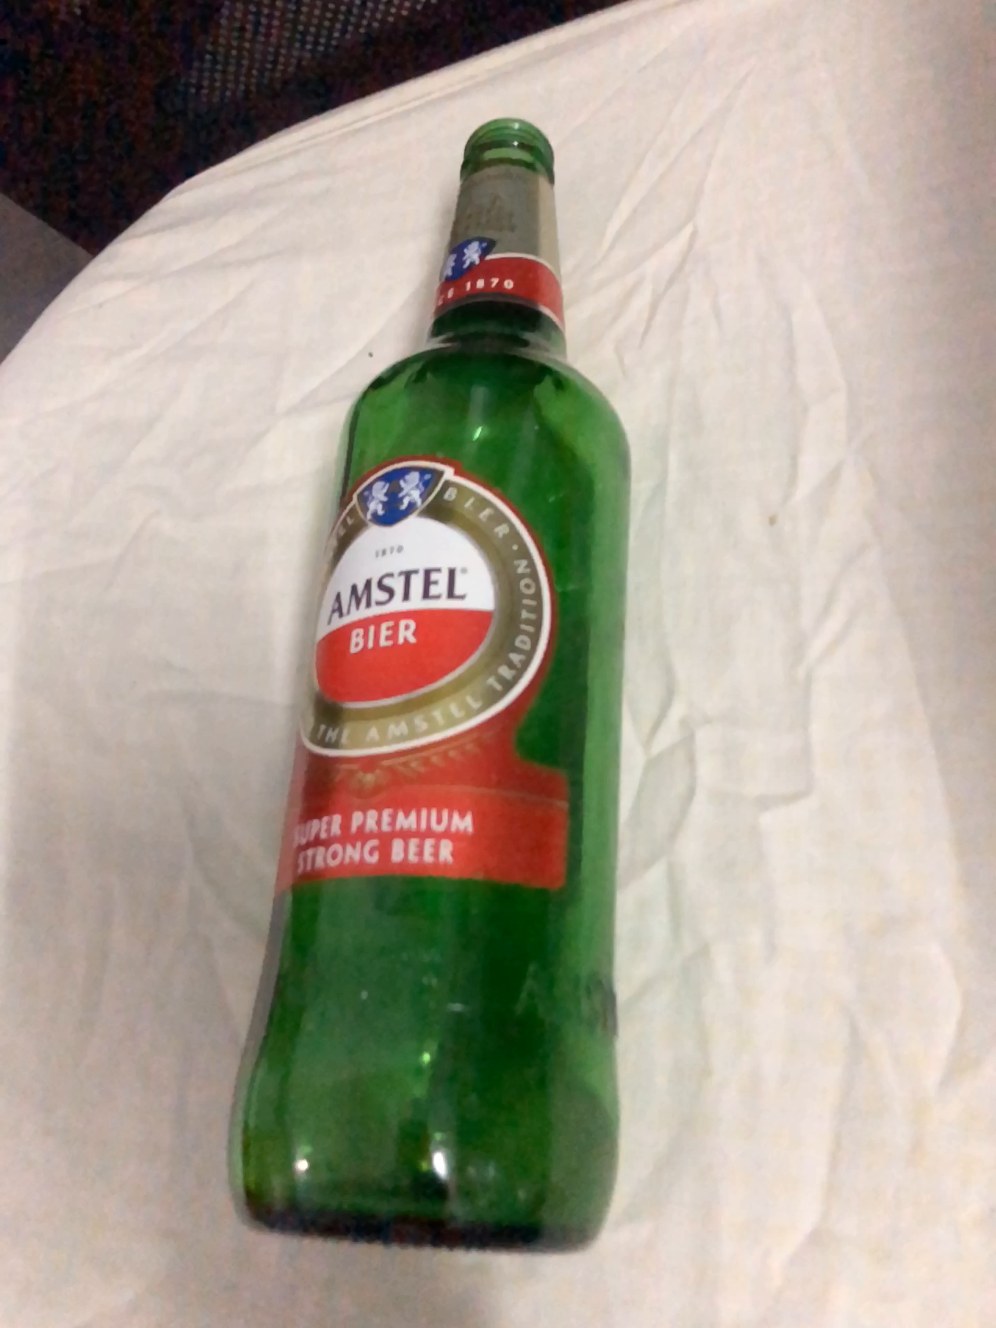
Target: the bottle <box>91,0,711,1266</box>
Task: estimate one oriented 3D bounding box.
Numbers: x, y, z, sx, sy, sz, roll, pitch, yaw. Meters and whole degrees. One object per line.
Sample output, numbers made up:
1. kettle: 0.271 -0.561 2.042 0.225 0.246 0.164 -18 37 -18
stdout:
1. bottle: 0.002 -0.052 0.288 0.090 0.080 0.360 -6 61 22
